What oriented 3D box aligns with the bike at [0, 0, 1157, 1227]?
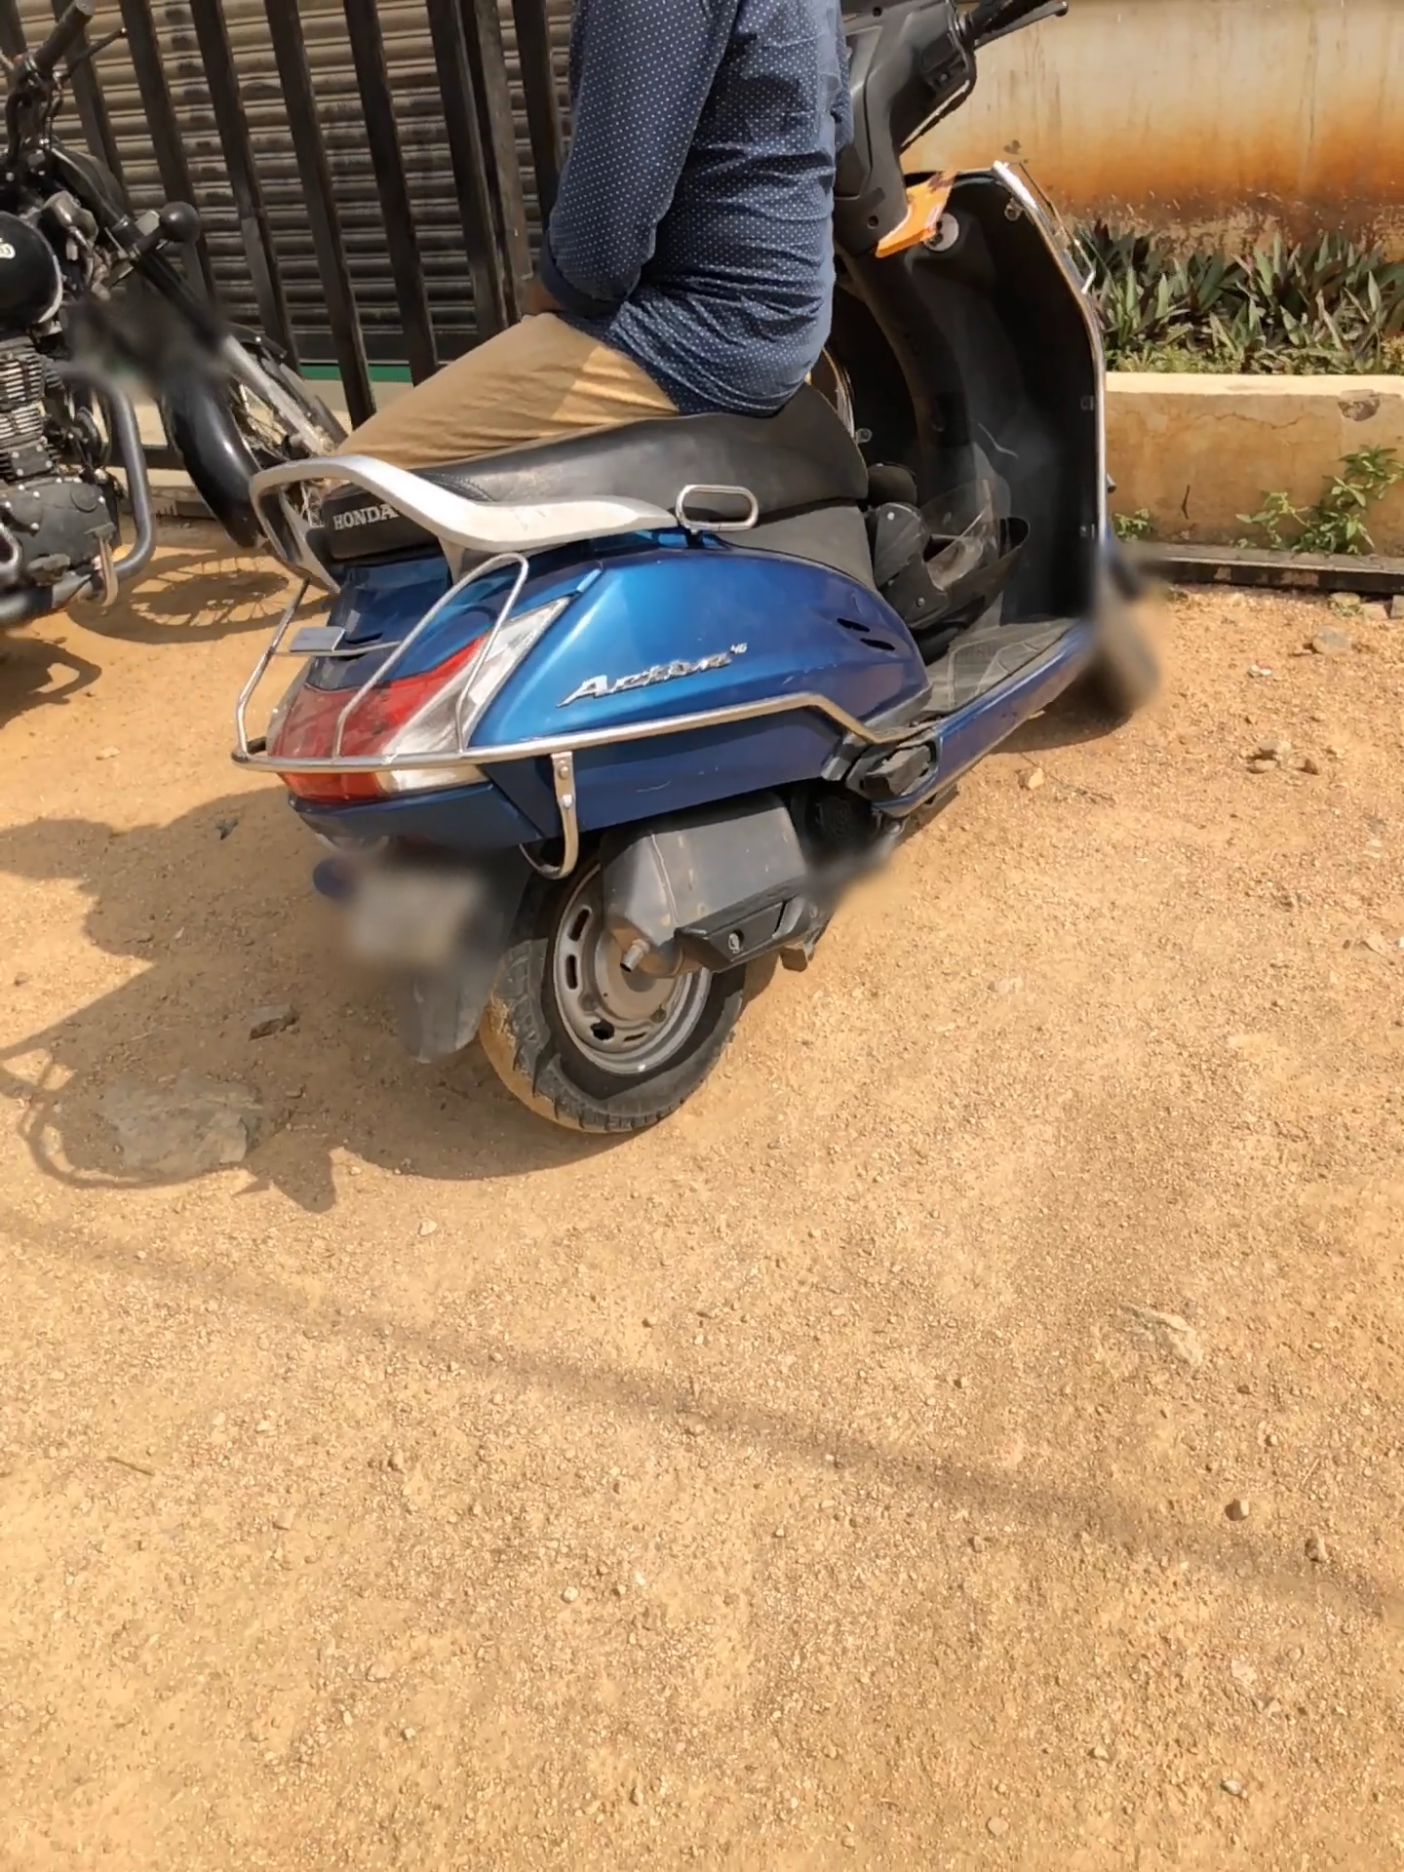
[{"bbox_3d":[0.031,-0.648,2.078,0.622,1.115,1.557,14,38,30],"label":"bike"}]
